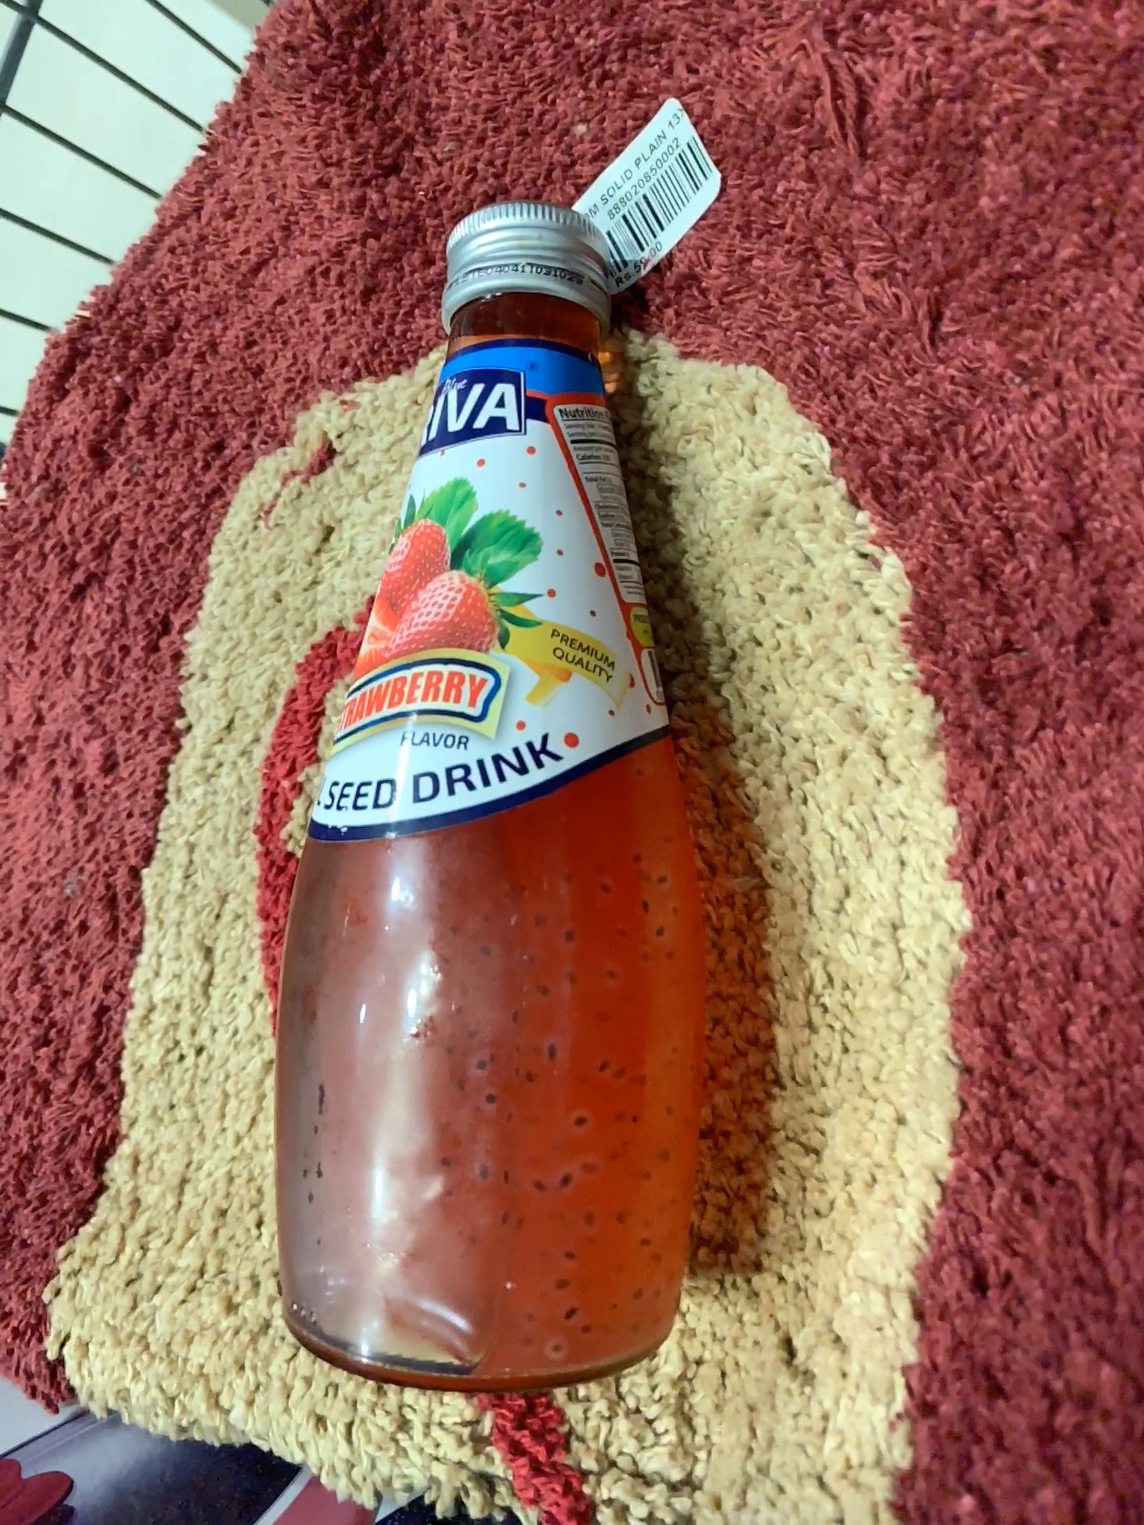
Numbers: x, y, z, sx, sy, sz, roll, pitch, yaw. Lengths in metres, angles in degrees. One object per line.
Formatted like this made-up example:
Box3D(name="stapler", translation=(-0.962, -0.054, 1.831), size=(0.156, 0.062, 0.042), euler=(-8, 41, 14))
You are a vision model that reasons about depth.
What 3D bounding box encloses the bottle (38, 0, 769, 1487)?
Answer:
Box3D(name="bottle", translation=(-0.020, -0.006, 0.164), size=(0.070, 0.050, 0.160), euler=(-1, 81, 35))
